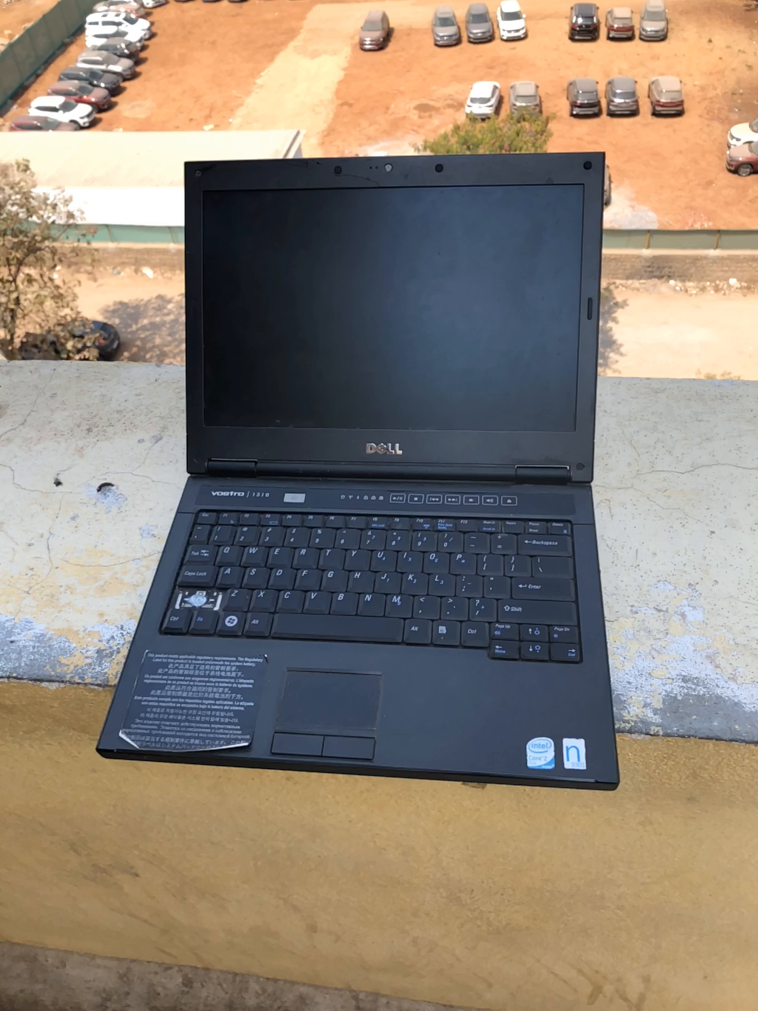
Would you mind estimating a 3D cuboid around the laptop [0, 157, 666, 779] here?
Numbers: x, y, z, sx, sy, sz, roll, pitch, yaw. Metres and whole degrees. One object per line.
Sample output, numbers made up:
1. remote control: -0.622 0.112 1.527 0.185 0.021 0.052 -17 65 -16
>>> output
1. laptop: -0.006 -0.047 0.543 0.301 0.178 0.378 1 48 8
